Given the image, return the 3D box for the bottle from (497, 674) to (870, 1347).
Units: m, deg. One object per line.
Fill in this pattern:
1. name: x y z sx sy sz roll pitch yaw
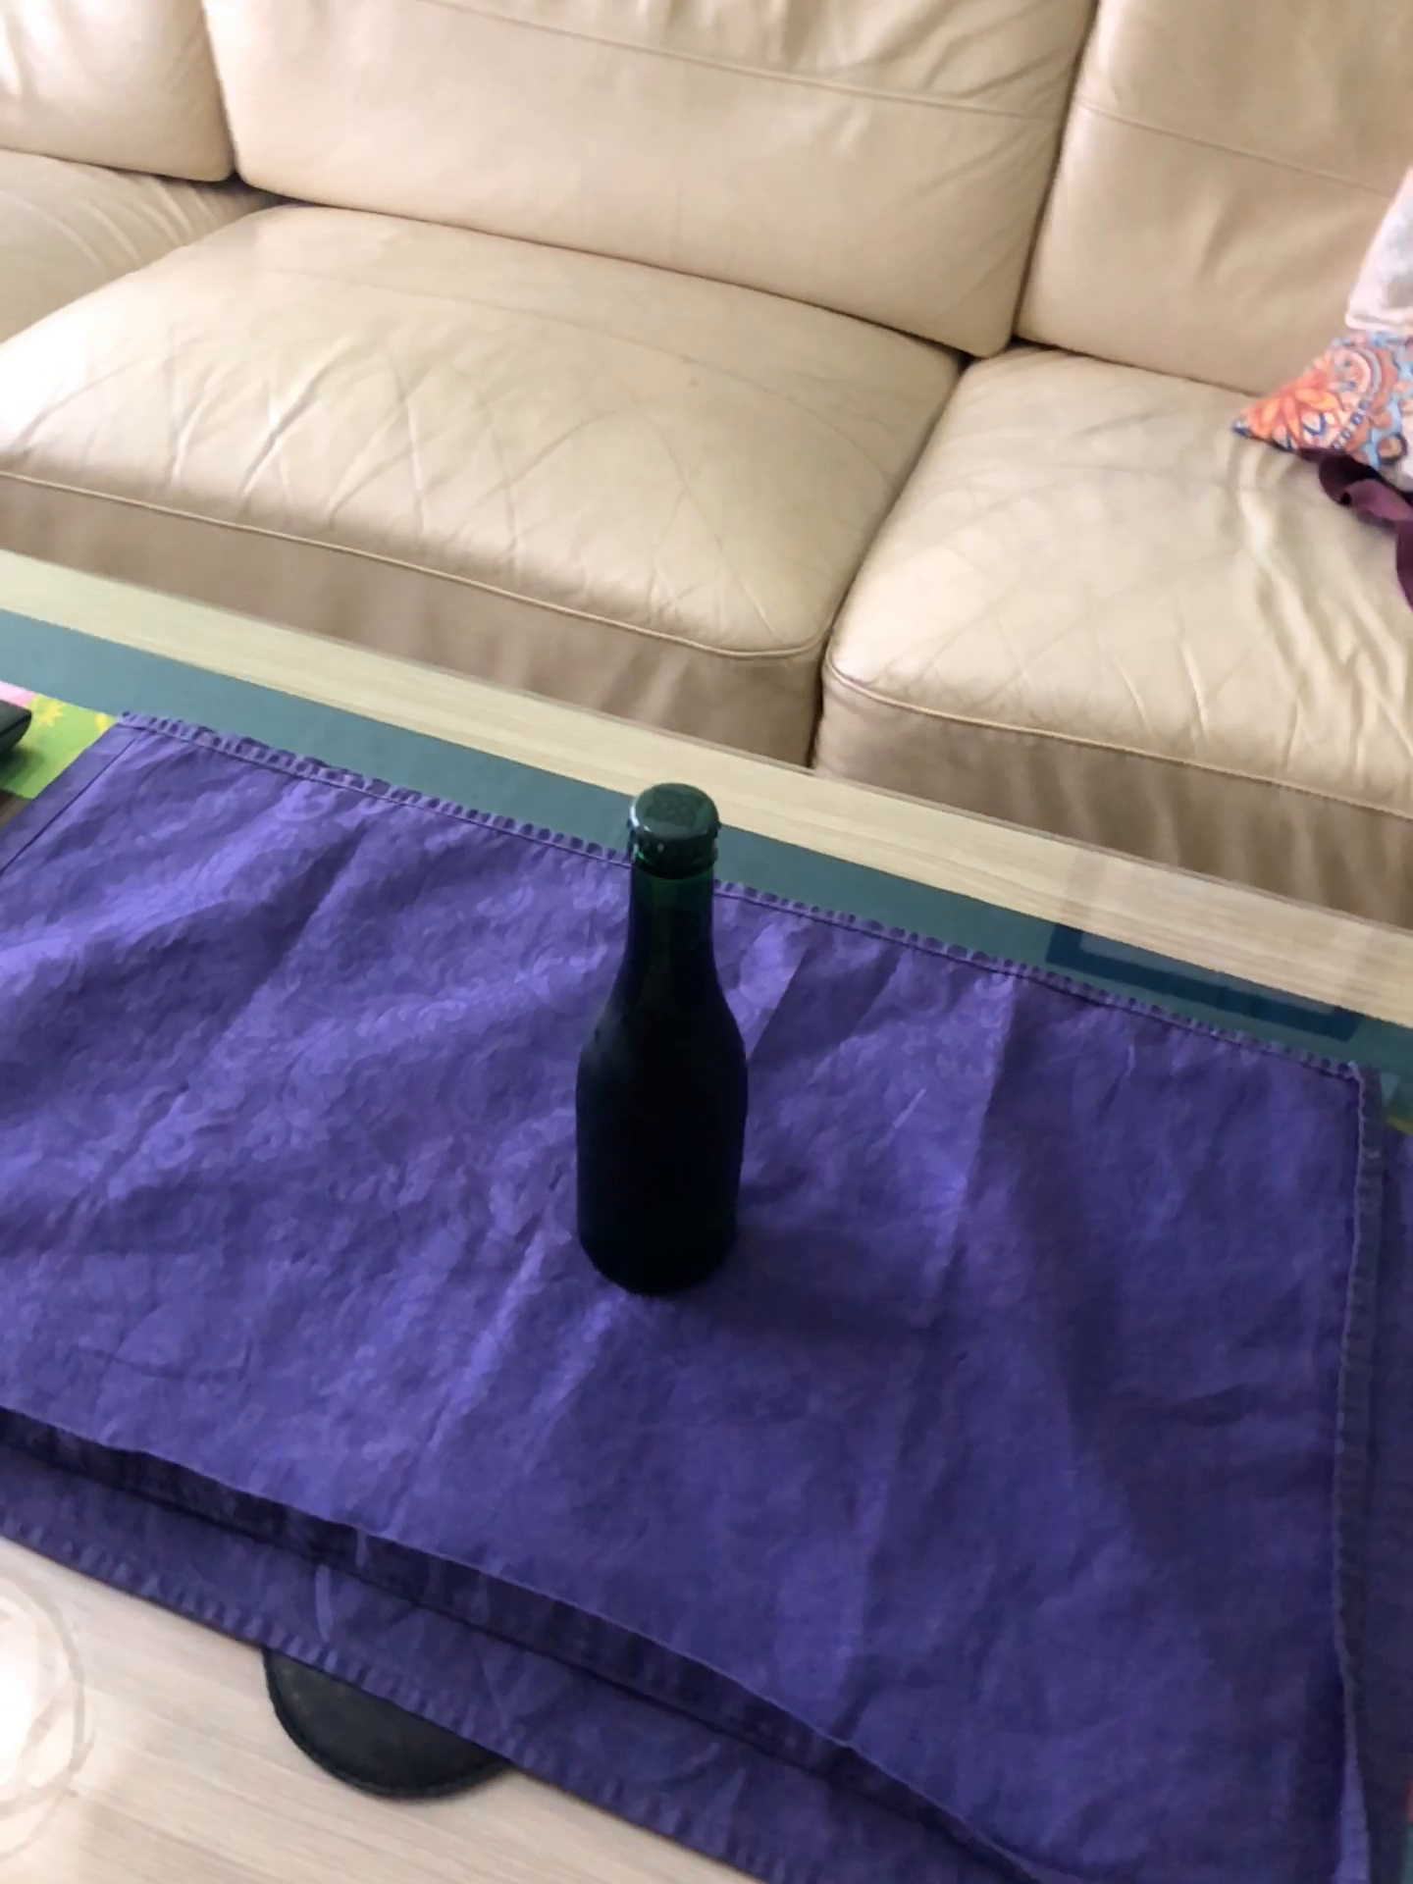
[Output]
1. bottle: -0.012 0.032 0.521 0.070 0.219 0.080 34 53 25
